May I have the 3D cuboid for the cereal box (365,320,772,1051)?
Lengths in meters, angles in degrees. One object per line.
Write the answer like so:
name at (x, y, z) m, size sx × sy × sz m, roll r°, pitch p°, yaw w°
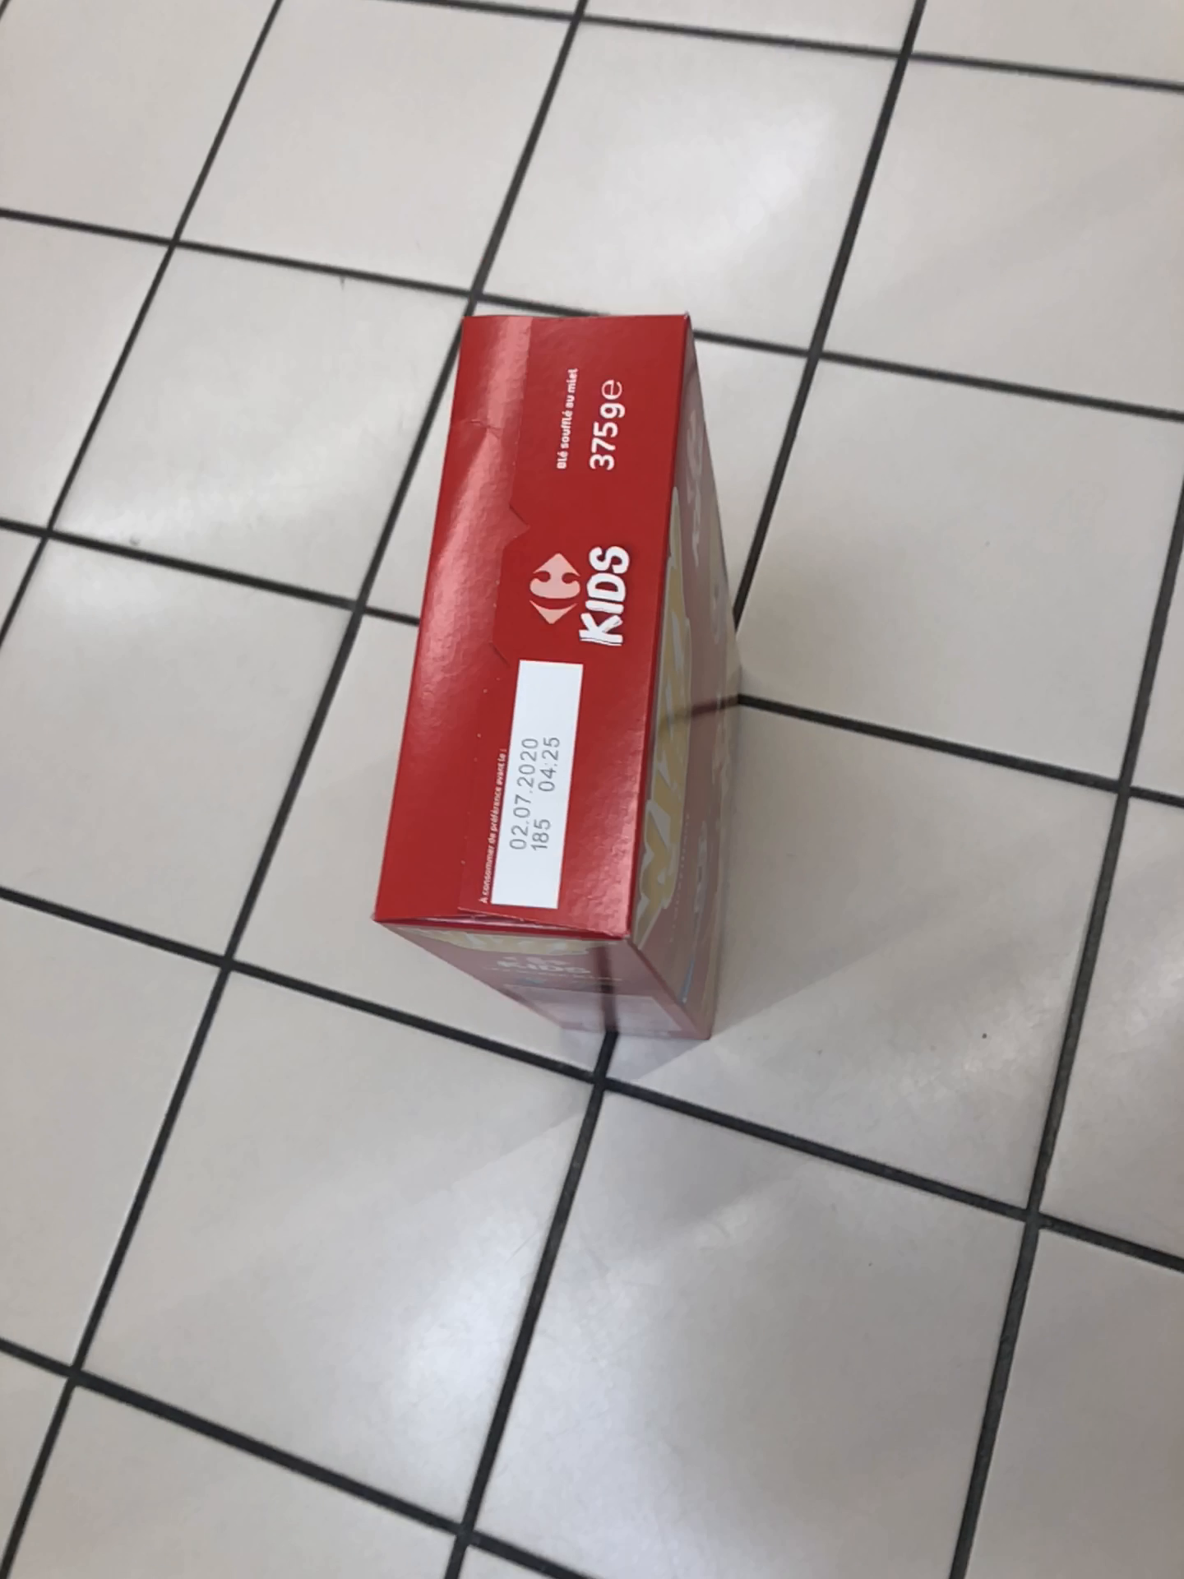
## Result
cereal box at (0.014, -0.012, 0.503) m, size 0.090 × 0.280 × 0.190 m, roll 2°, pitch 74°, yaw 10°
